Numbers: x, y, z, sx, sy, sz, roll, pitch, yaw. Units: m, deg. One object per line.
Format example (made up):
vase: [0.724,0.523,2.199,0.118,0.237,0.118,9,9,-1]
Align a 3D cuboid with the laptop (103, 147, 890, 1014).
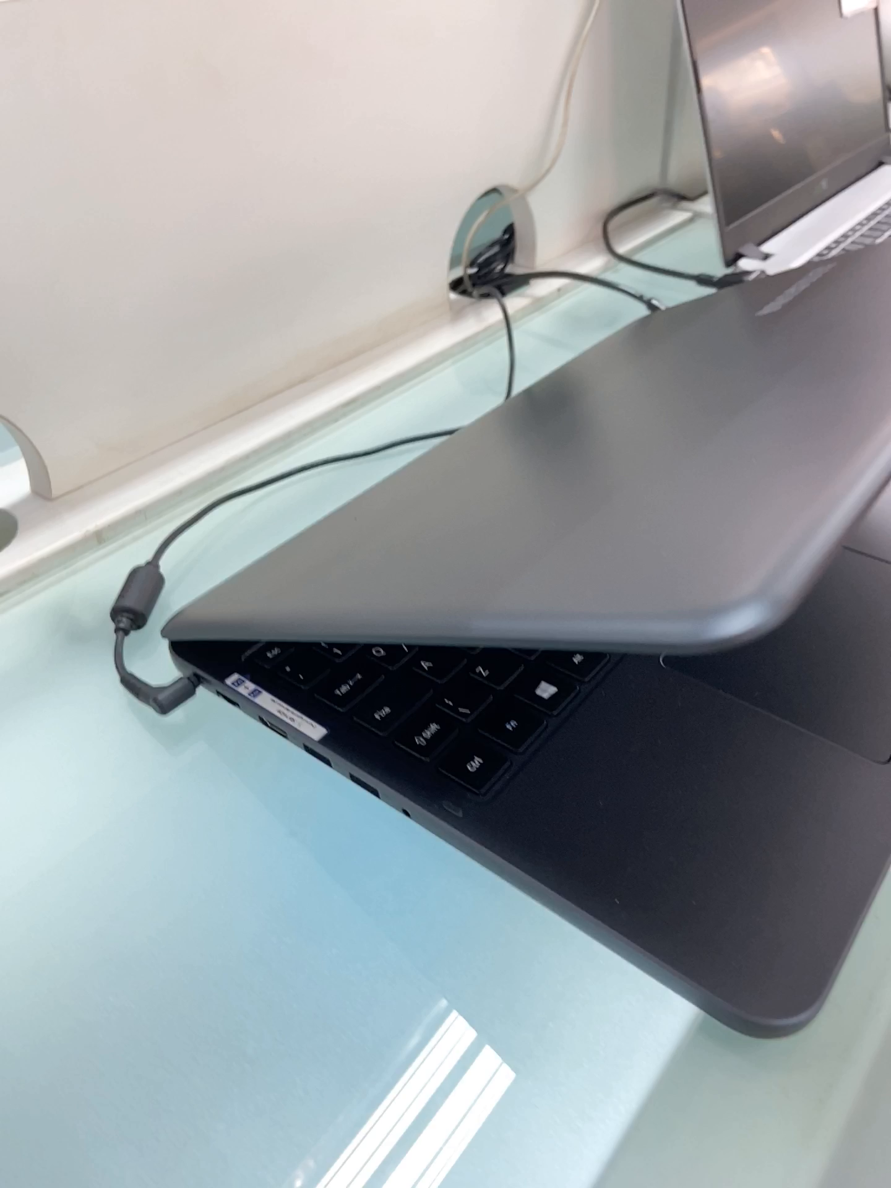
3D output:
laptop: [0.104,-0.075,0.369,0.233,0.101,0.377,24,44,30]
